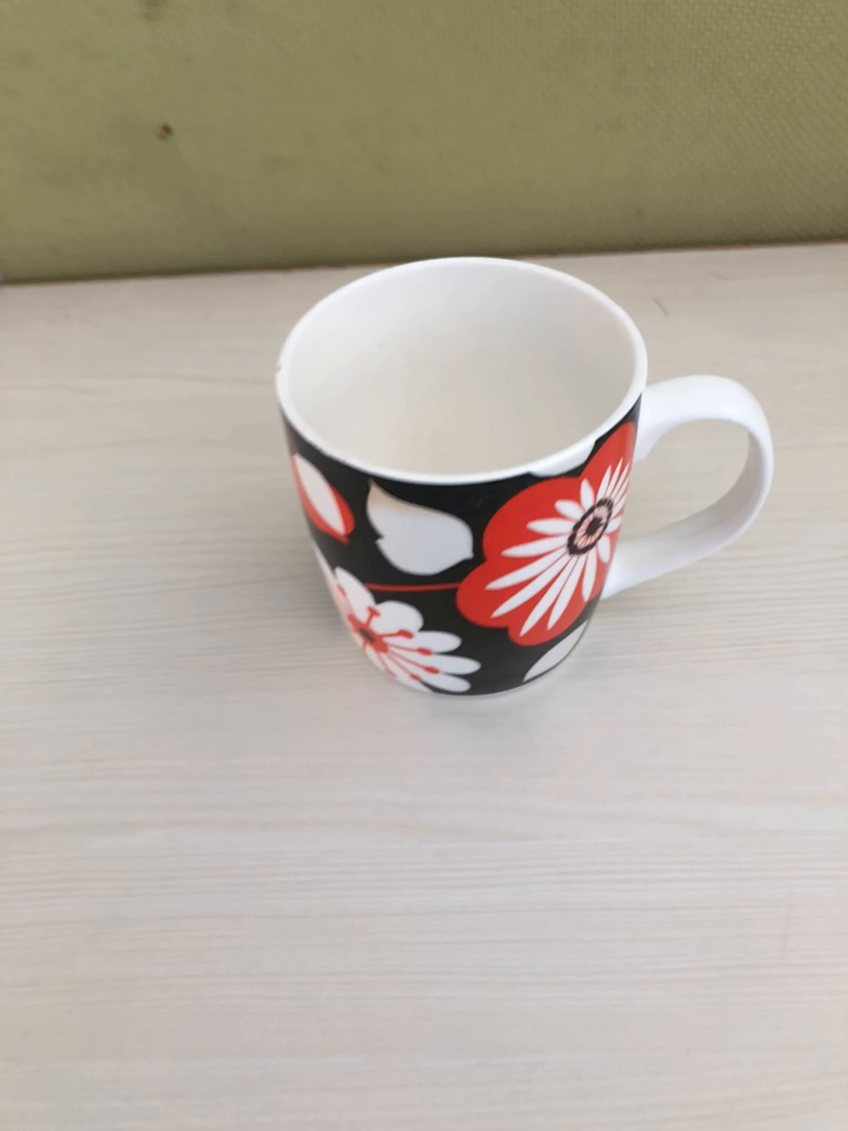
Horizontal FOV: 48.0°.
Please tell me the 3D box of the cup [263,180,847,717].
[{"bbox_3d":[0.027,-0.032,0.254,0.120,0.089,0.091,-9,47,-3],"label":"cup"}]
